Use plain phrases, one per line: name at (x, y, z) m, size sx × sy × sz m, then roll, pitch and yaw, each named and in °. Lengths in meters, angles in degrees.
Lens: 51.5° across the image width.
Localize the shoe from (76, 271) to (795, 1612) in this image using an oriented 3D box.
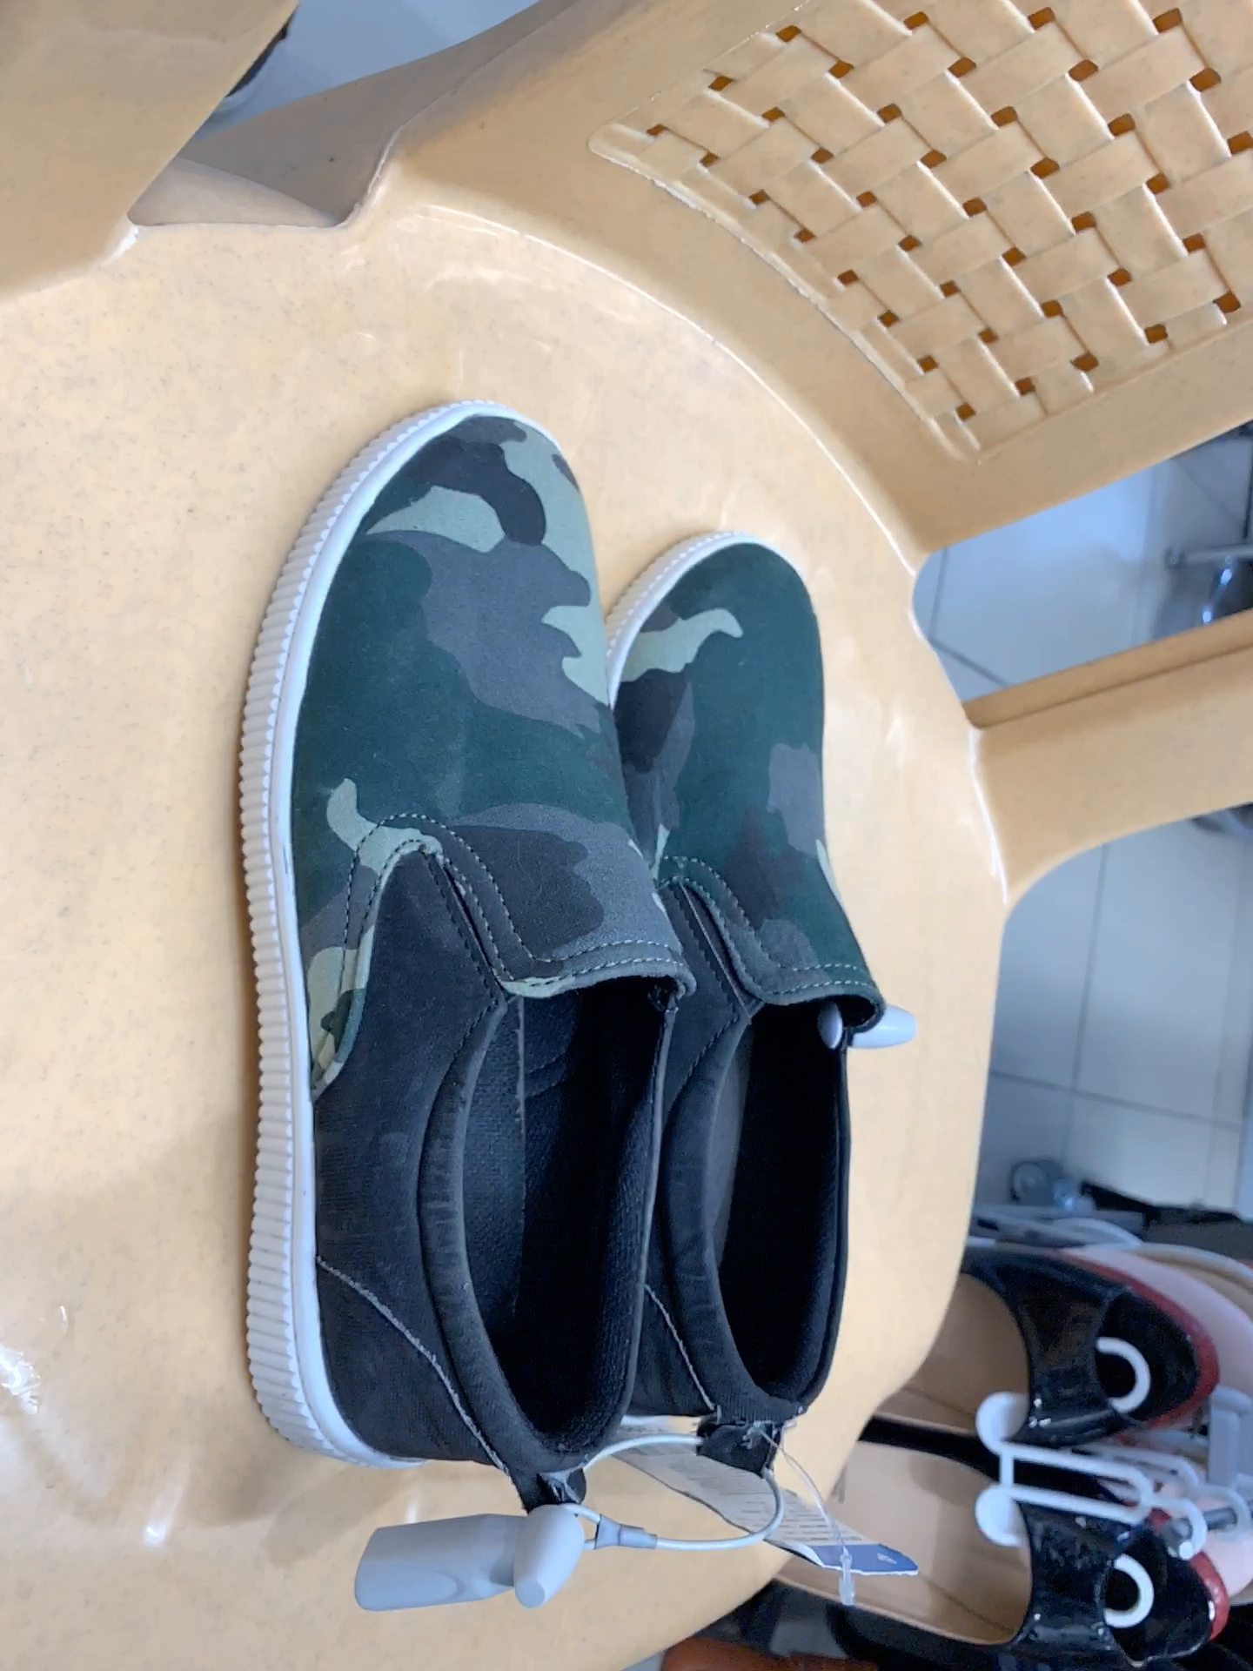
shoe at (-0.041, 0.018, 0.280) m, size 0.090 × 0.099 × 0.220 m, roll 9°, pitch 85°, yaw -42°

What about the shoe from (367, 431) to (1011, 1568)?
shoe at (0.020, 0.037, 0.338) m, size 0.090 × 0.100 × 0.240 m, roll 19°, pitch 75°, yaw -40°
